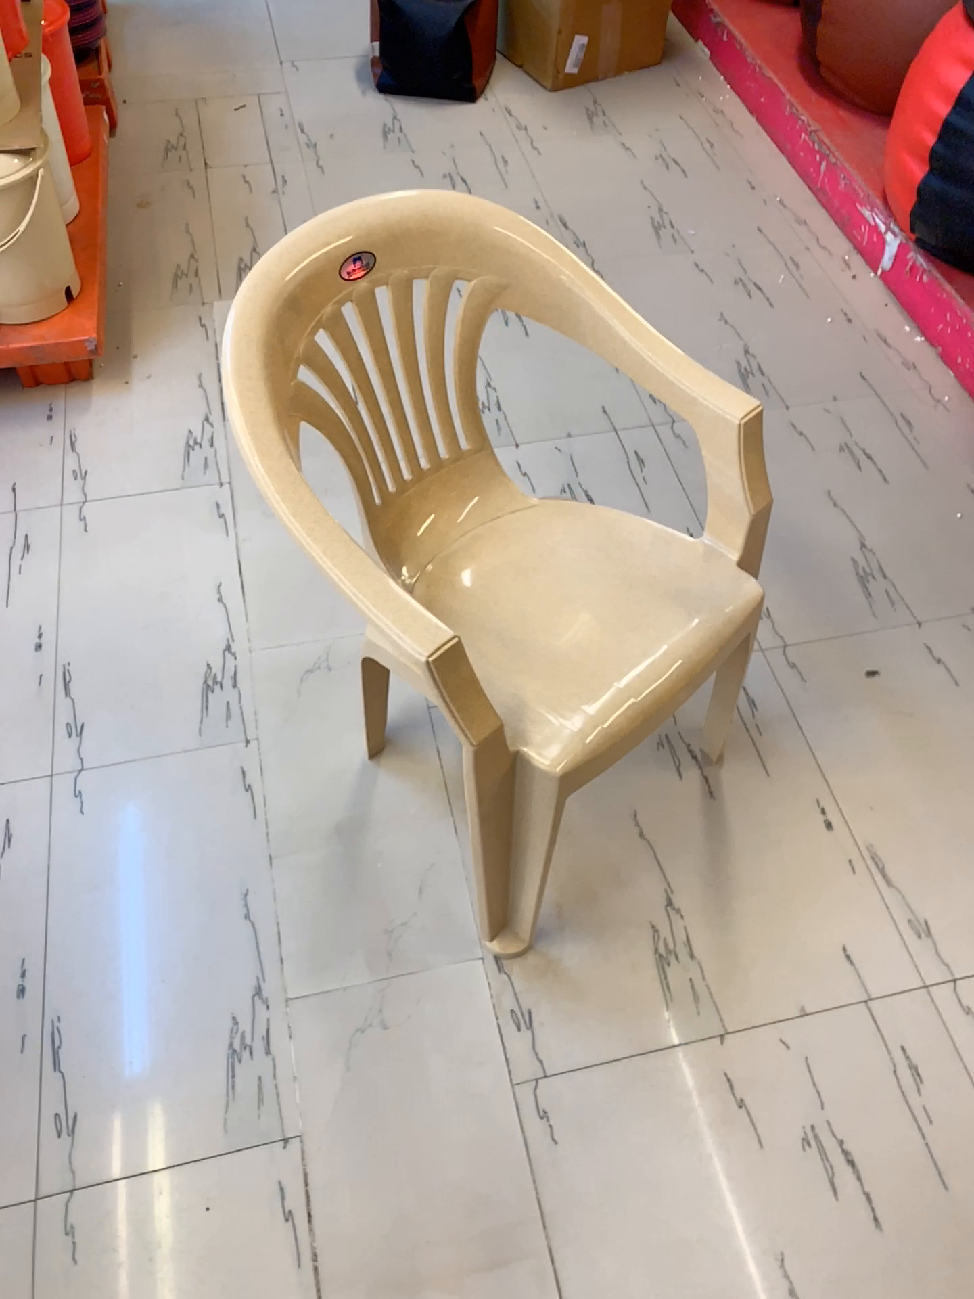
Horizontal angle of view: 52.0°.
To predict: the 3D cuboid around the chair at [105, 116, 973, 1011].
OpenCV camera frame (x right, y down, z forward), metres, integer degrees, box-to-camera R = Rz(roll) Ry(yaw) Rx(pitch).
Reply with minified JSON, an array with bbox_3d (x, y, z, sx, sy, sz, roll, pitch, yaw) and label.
[{"bbox_3d":[0.036,-0.091,1.268,0.572,0.745,0.632,-37,62,-26],"label":"chair"}]
